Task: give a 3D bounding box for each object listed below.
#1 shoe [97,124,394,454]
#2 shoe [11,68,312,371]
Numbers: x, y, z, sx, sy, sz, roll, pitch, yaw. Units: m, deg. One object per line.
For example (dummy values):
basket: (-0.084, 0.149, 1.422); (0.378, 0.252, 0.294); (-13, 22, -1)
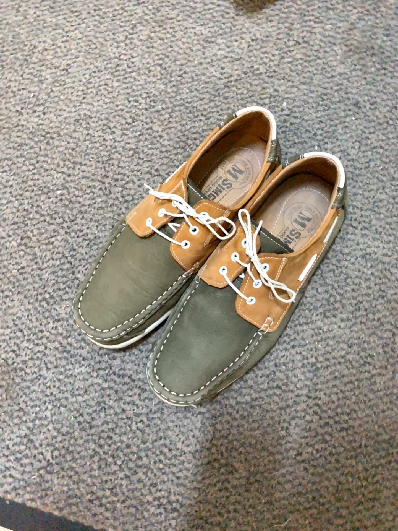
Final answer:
shoe: (0.045, 0.022, 0.406); (0.107, 0.130, 0.270); (37, 82, 10)
shoe: (-0.026, -0.036, 0.417); (0.107, 0.130, 0.270); (41, 83, 10)
